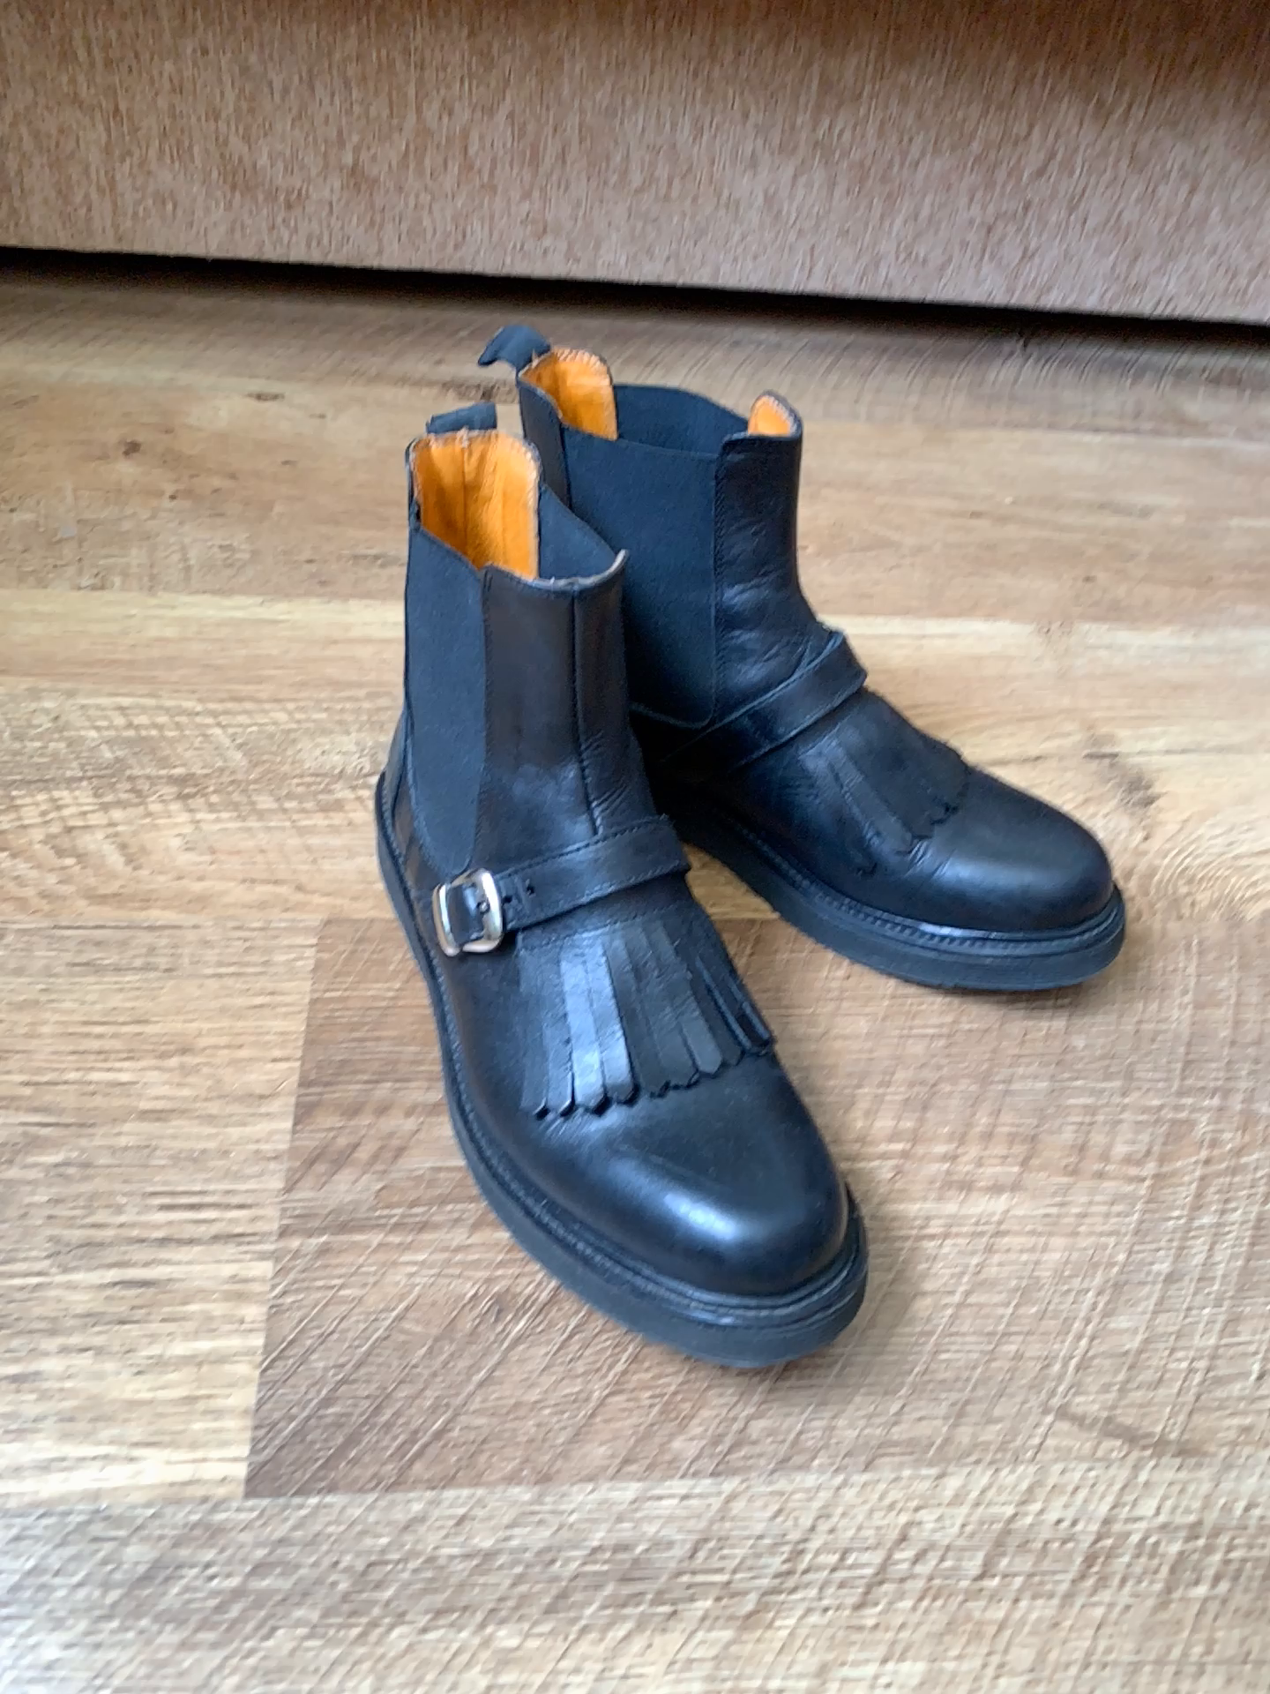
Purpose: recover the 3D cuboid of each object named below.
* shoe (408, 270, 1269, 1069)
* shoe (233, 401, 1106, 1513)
[{"bbox_3d":[0.062,-0.065,0.436,0.260,0.149,0.100,27,48,18],"label":"shoe"},{"bbox_3d":[-0.018,0.013,0.362,0.089,0.151,0.261,-18,50,-23],"label":"shoe"}]
